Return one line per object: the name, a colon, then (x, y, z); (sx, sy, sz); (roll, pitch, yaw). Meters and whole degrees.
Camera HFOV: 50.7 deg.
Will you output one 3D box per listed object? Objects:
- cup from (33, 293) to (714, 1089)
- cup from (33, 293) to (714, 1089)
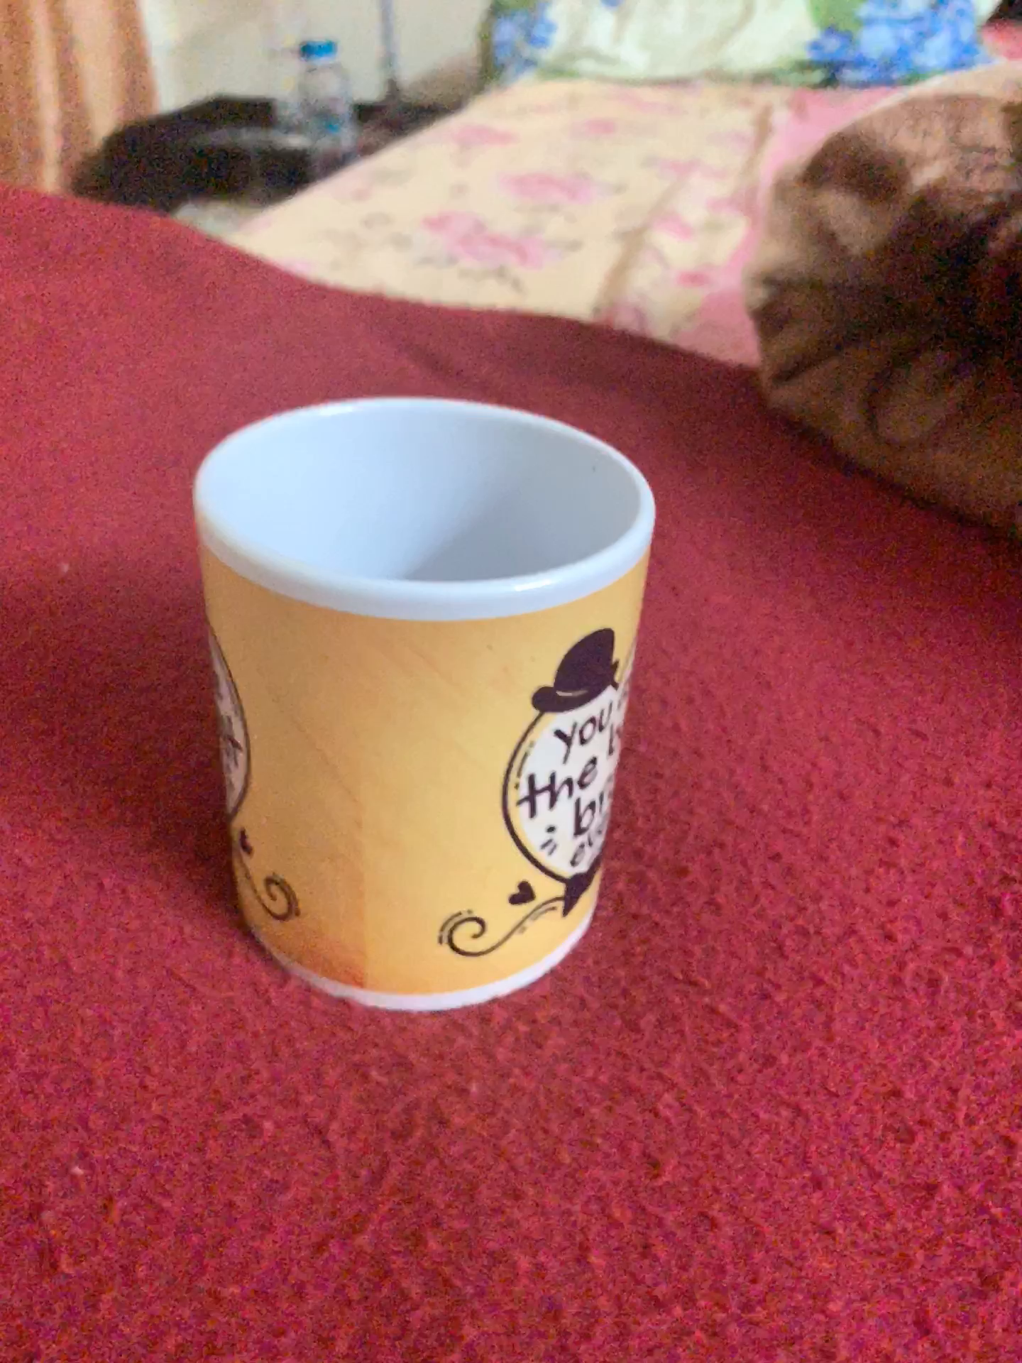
cup: (-0.015, -0.007, 0.224); (0.080, 0.109, 0.111); (12, 36, 18)
cup: (-0.015, -0.007, 0.224); (0.080, 0.109, 0.111); (12, 36, 18)
